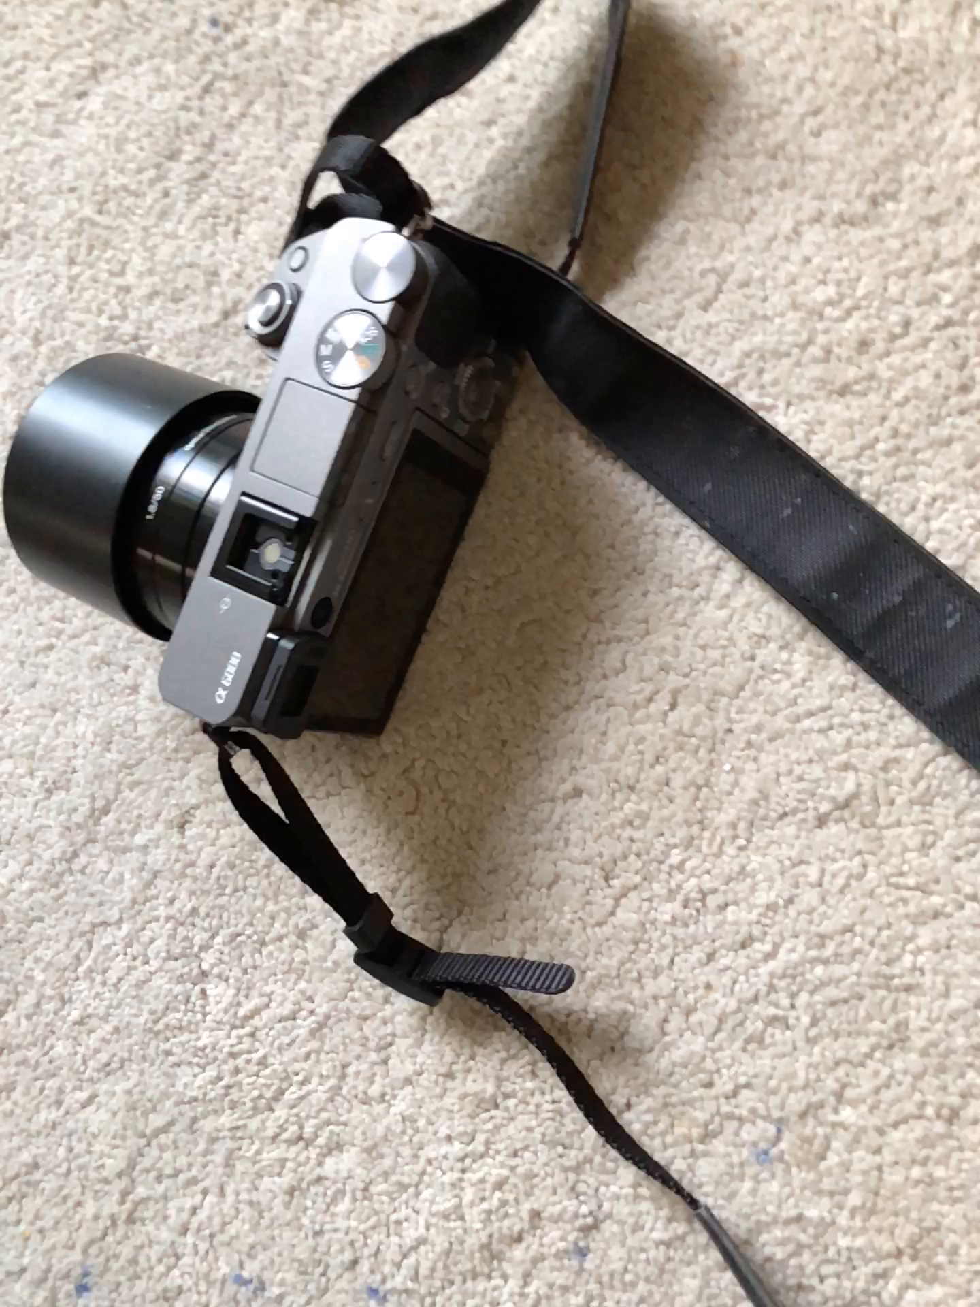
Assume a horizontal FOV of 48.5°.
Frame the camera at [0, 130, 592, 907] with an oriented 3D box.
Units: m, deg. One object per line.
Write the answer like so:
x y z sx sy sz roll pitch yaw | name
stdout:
-0.060 -0.031 0.261 0.110 0.070 0.140 22 92 22 | camera
